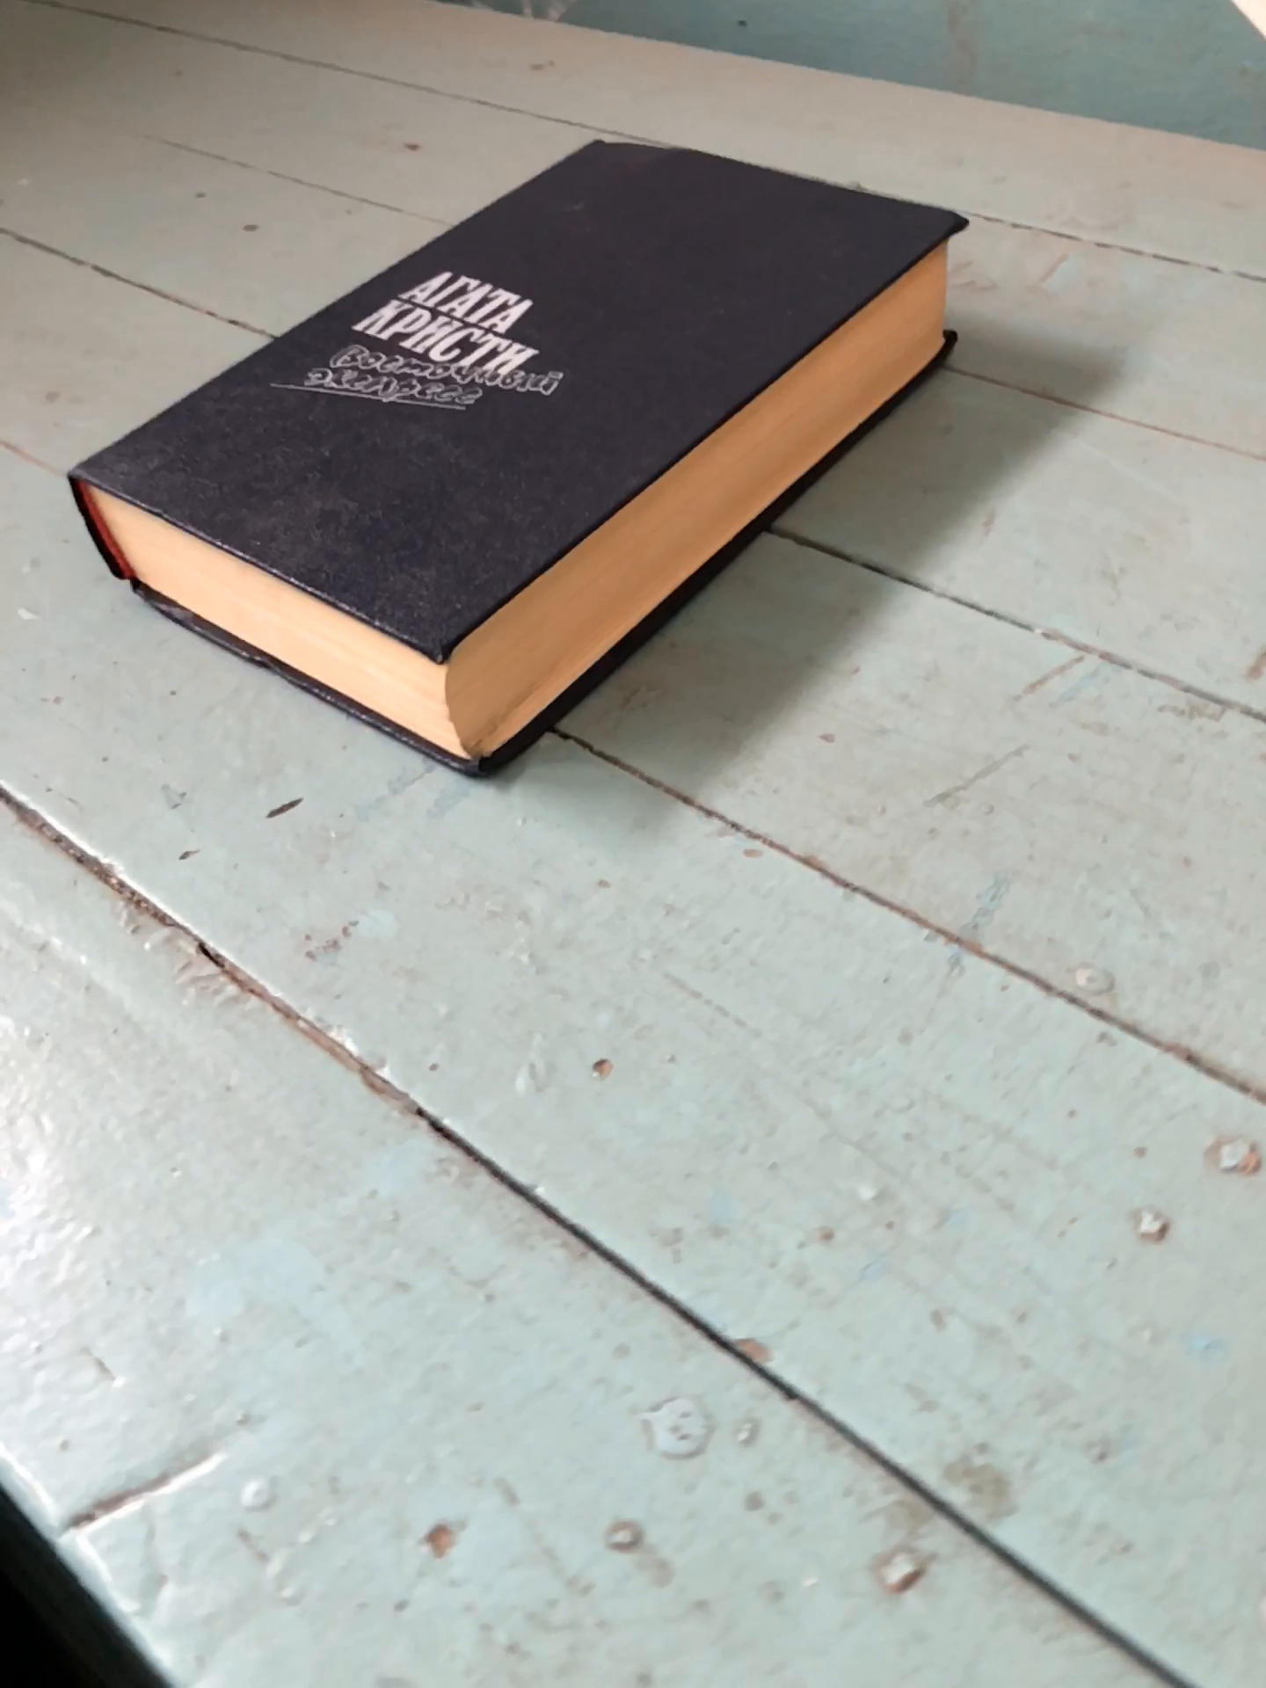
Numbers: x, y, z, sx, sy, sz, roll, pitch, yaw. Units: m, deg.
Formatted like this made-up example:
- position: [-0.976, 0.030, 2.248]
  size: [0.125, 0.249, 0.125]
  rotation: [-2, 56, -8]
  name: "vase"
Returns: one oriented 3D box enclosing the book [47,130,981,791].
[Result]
- position: [-0.023, -0.119, 0.376]
  size: [0.138, 0.040, 0.211]
  rotation: [27, 58, 30]
  name: "book"
